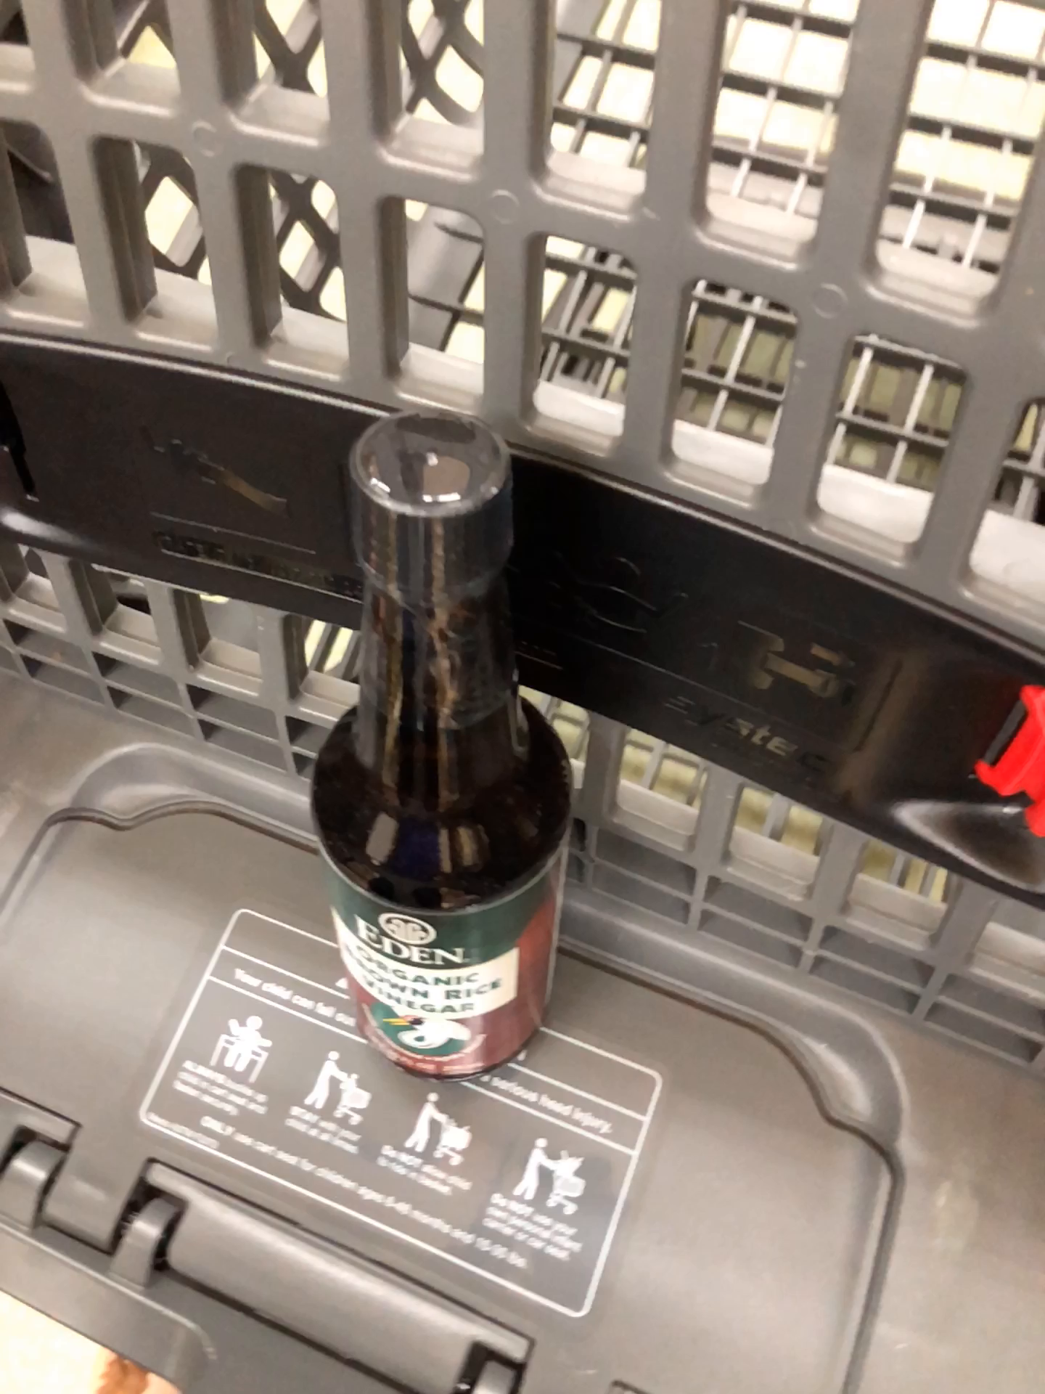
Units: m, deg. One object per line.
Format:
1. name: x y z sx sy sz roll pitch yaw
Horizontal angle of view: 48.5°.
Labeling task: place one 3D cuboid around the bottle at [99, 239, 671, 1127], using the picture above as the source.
1. bottle: -0.022 0.012 0.257 0.070 0.190 0.070 1 47 -2
